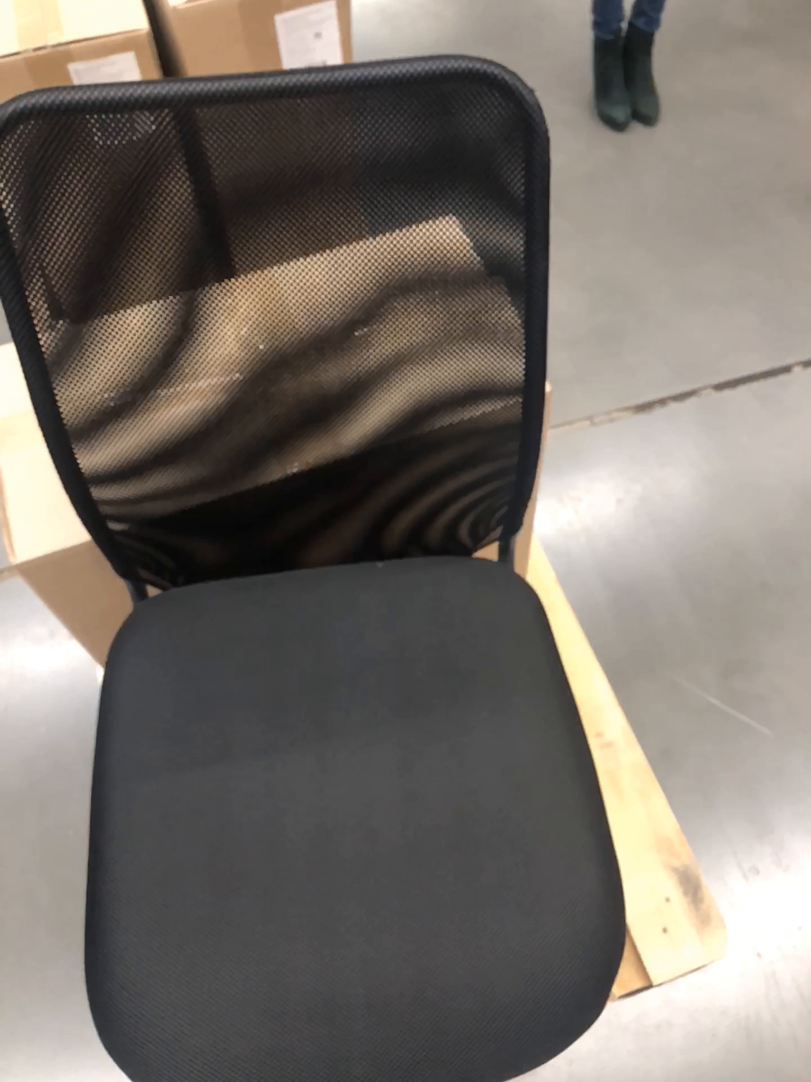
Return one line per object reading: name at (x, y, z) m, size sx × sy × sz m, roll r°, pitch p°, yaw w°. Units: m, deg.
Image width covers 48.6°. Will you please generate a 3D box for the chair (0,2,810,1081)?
chair at (-0.055, 0.224, 0.826) m, size 0.600 × 1.035 × 0.573 m, roll -8°, pitch 60°, yaw -2°
